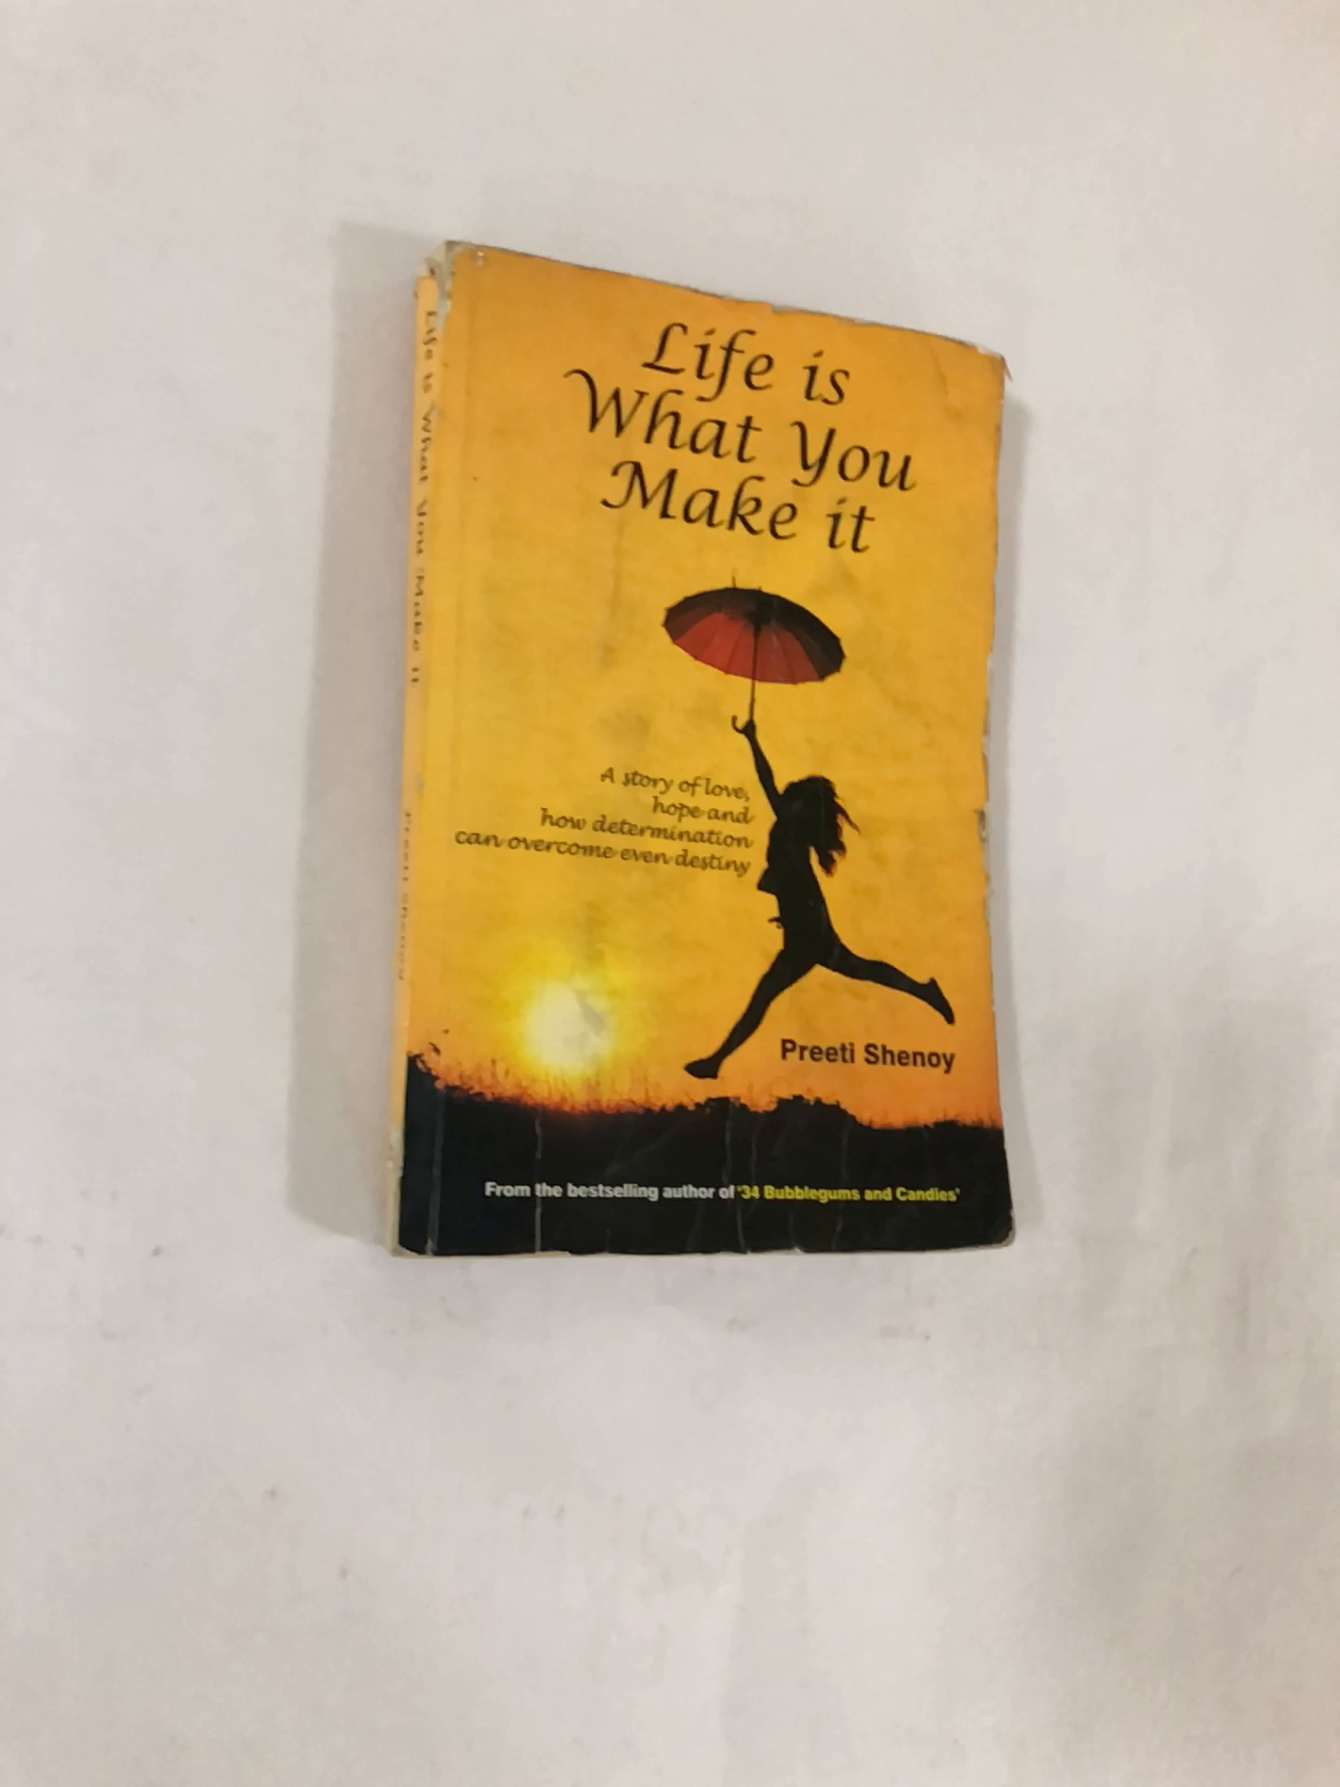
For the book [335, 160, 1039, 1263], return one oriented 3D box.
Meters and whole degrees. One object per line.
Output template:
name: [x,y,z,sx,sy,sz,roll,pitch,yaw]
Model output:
book: [0.008,-0.034,0.310,0.140,0.020,0.210,4,80,-21]
